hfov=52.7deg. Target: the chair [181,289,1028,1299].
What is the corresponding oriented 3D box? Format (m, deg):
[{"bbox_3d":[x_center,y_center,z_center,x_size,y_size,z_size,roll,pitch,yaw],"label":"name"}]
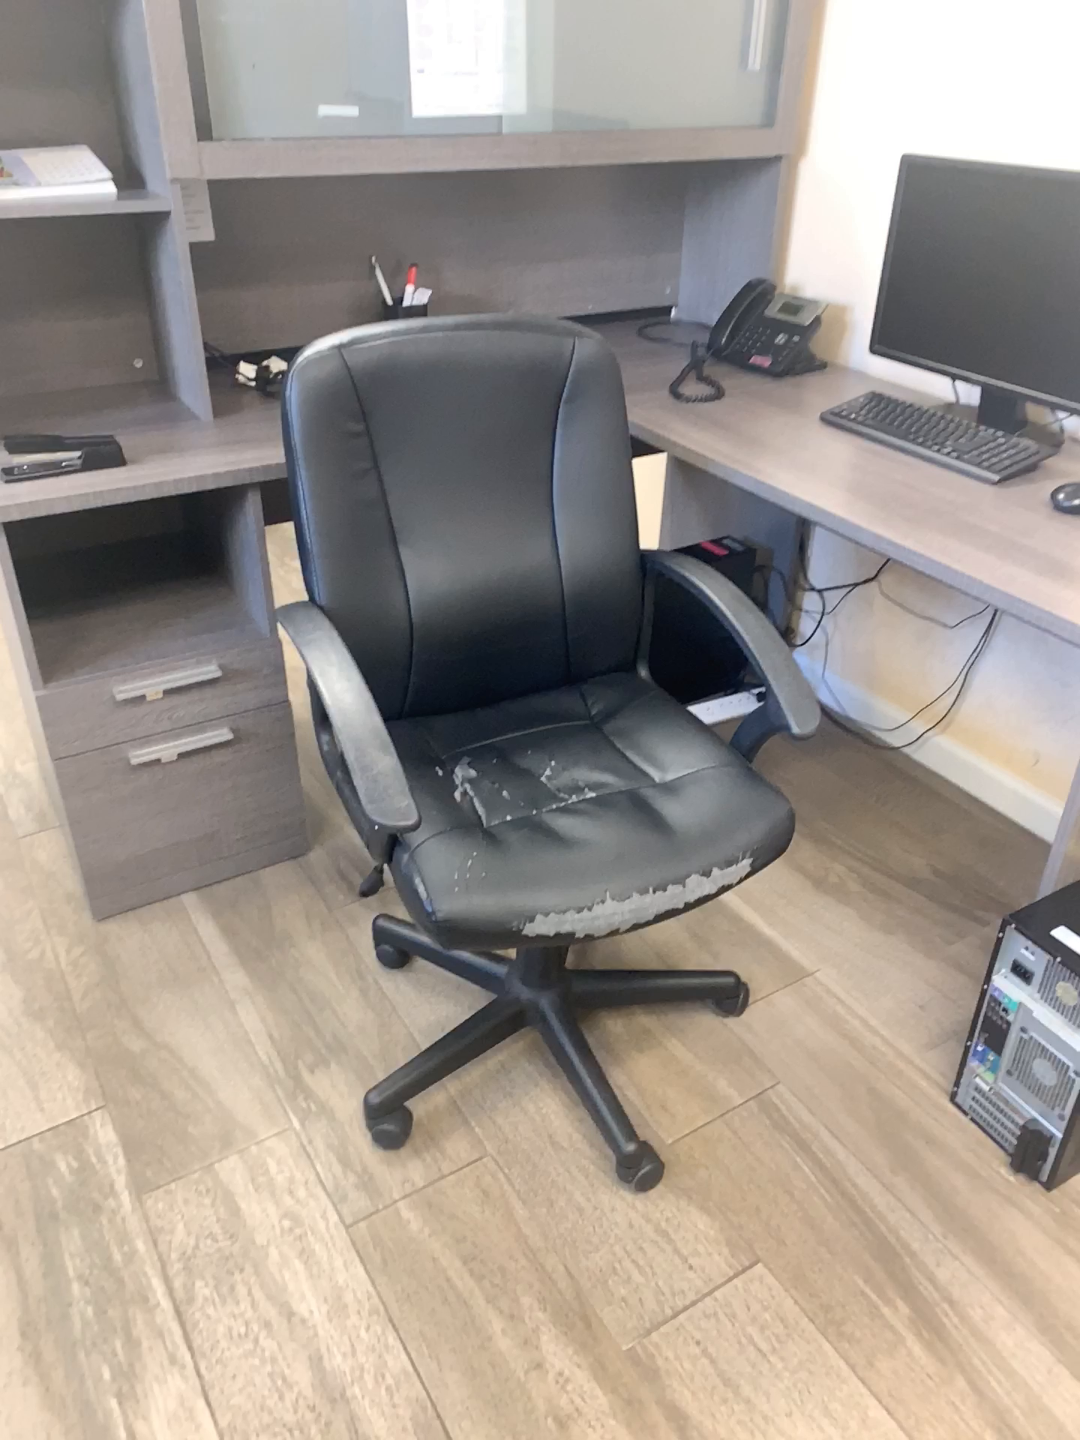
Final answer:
[{"bbox_3d":[0.013,0.036,1.375,0.651,0.944,0.643,-14,34,-22],"label":"chair"}]
